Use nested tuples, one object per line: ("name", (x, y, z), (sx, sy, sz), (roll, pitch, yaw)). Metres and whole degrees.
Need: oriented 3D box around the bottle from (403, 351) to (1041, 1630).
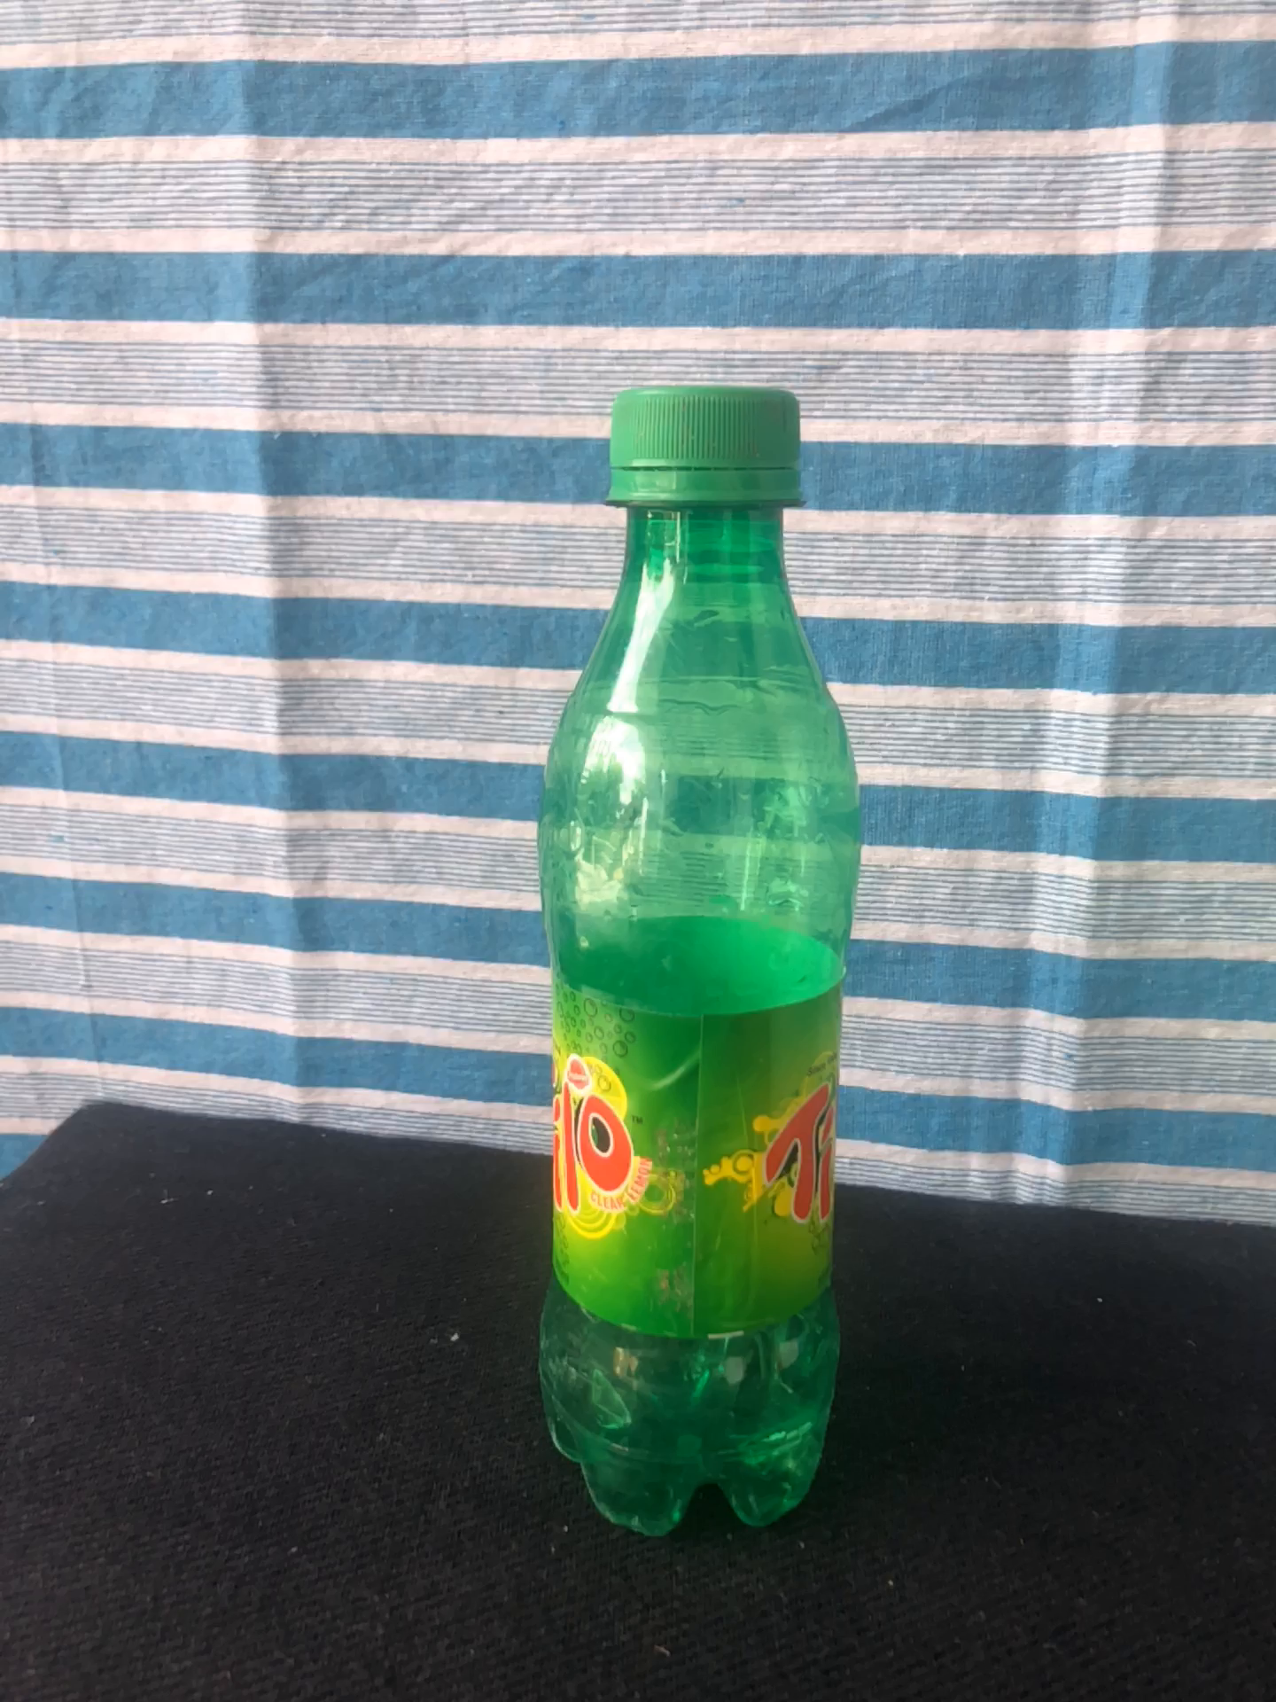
("bottle", (0.008, 0.019, 0.254), (0.070, 0.199, 0.070), (3, 17, -1))
